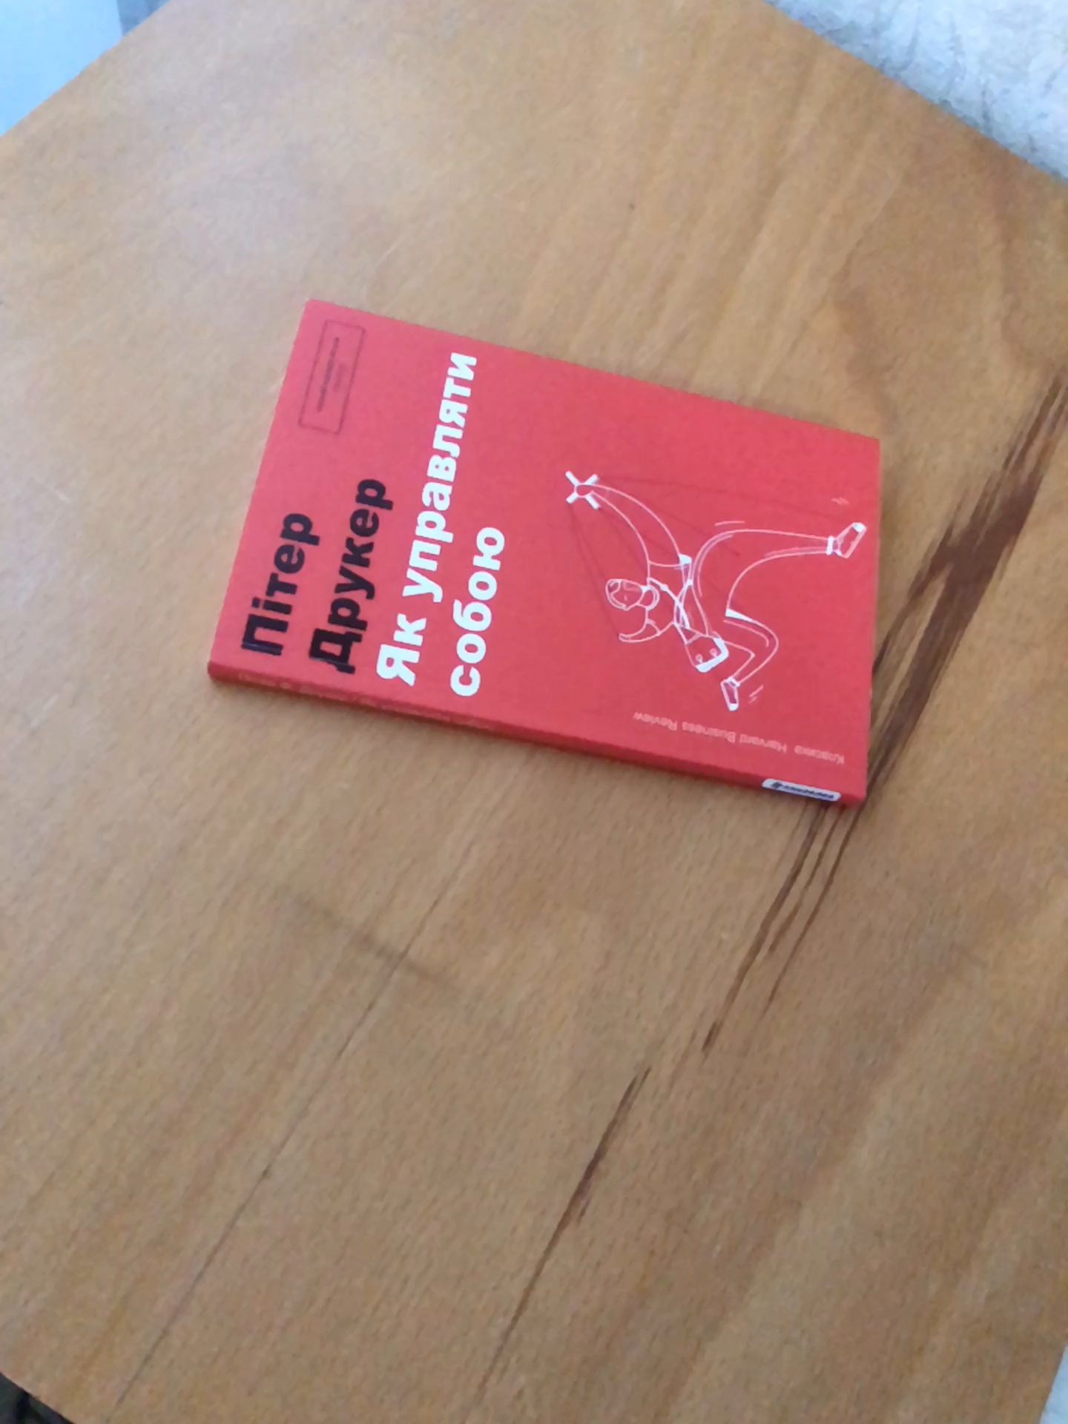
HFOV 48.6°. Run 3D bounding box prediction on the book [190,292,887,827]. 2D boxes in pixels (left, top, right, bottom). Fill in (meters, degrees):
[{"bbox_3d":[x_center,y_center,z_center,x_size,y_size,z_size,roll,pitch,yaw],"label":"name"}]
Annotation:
[{"bbox_3d":[0.009,-0.041,0.304,0.164,0.013,0.112,12,67,-6],"label":"book"}]
